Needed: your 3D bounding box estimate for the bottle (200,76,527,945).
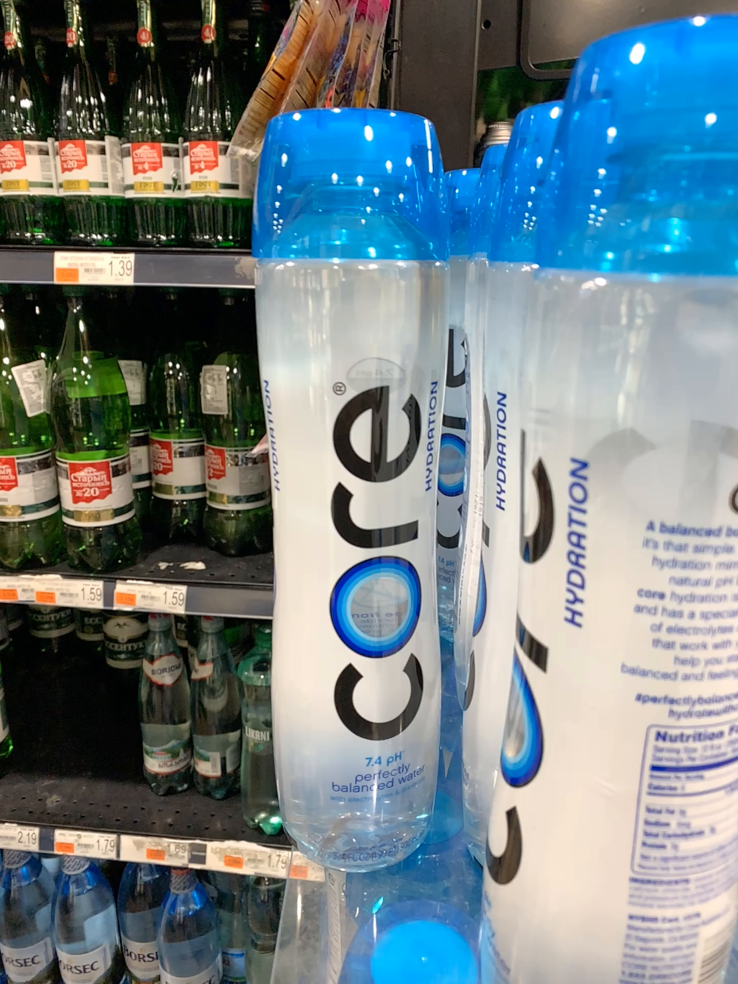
[{"bbox_3d":[0.003,0.015,0.284,0.090,0.289,0.080,4,17,10],"label":"bottle"}]
